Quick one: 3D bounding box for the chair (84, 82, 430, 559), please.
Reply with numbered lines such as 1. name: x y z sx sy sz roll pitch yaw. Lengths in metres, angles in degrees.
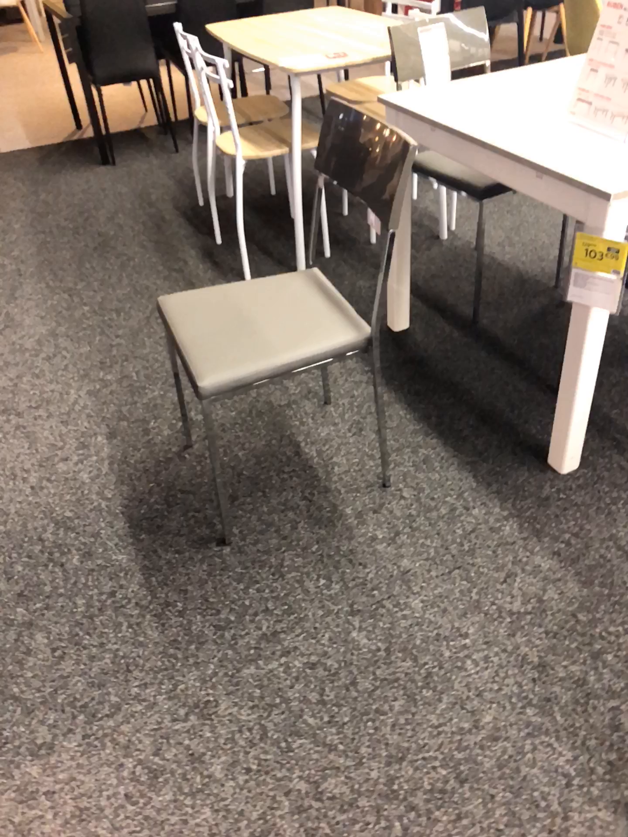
1. chair: -0.109 -0.224 1.587 0.551 0.855 0.492 -17 39 -14
